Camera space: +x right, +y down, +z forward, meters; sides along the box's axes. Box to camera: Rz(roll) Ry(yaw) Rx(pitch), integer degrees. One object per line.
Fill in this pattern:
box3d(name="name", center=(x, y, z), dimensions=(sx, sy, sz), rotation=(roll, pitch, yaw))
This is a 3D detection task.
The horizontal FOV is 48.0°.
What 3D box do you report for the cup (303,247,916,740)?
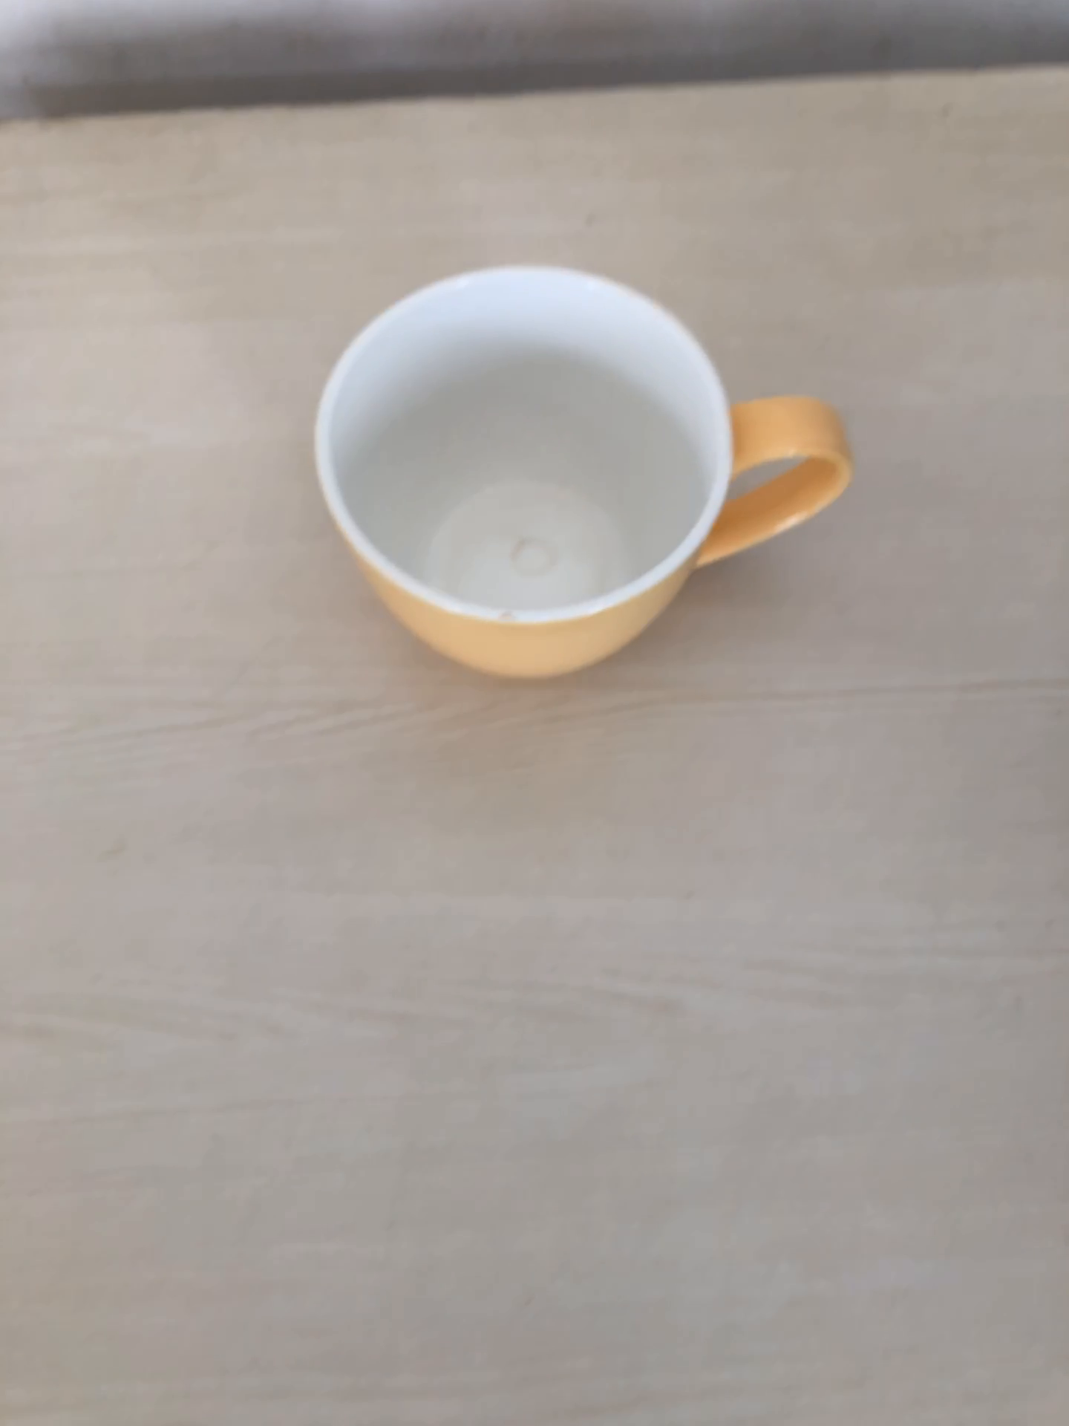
box3d(name="cup", center=(0.015, -0.057, 0.330), dimensions=(0.140, 0.080, 0.100), rotation=(-3, 68, -1))
